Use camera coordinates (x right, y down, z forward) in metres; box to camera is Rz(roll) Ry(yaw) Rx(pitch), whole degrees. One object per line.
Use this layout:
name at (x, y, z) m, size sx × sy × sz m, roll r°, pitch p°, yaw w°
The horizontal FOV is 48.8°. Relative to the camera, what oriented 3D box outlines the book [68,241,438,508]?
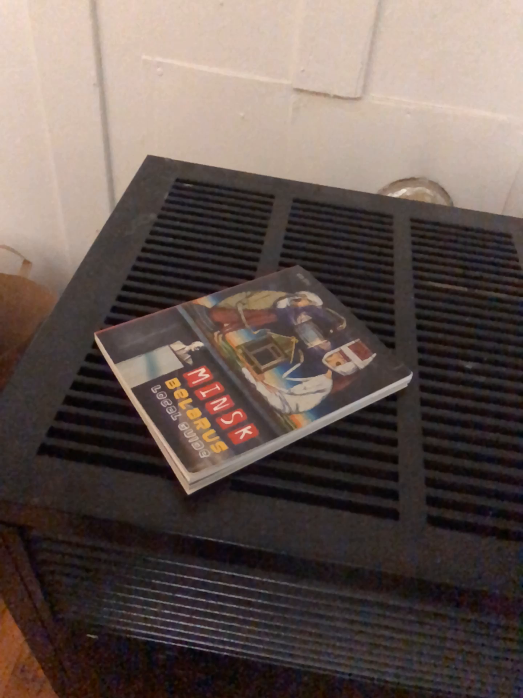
book at (-0.007, -0.002, 0.401) m, size 0.200 × 0.020 × 0.161 m, roll -21°, pitch 51°, yaw -26°
